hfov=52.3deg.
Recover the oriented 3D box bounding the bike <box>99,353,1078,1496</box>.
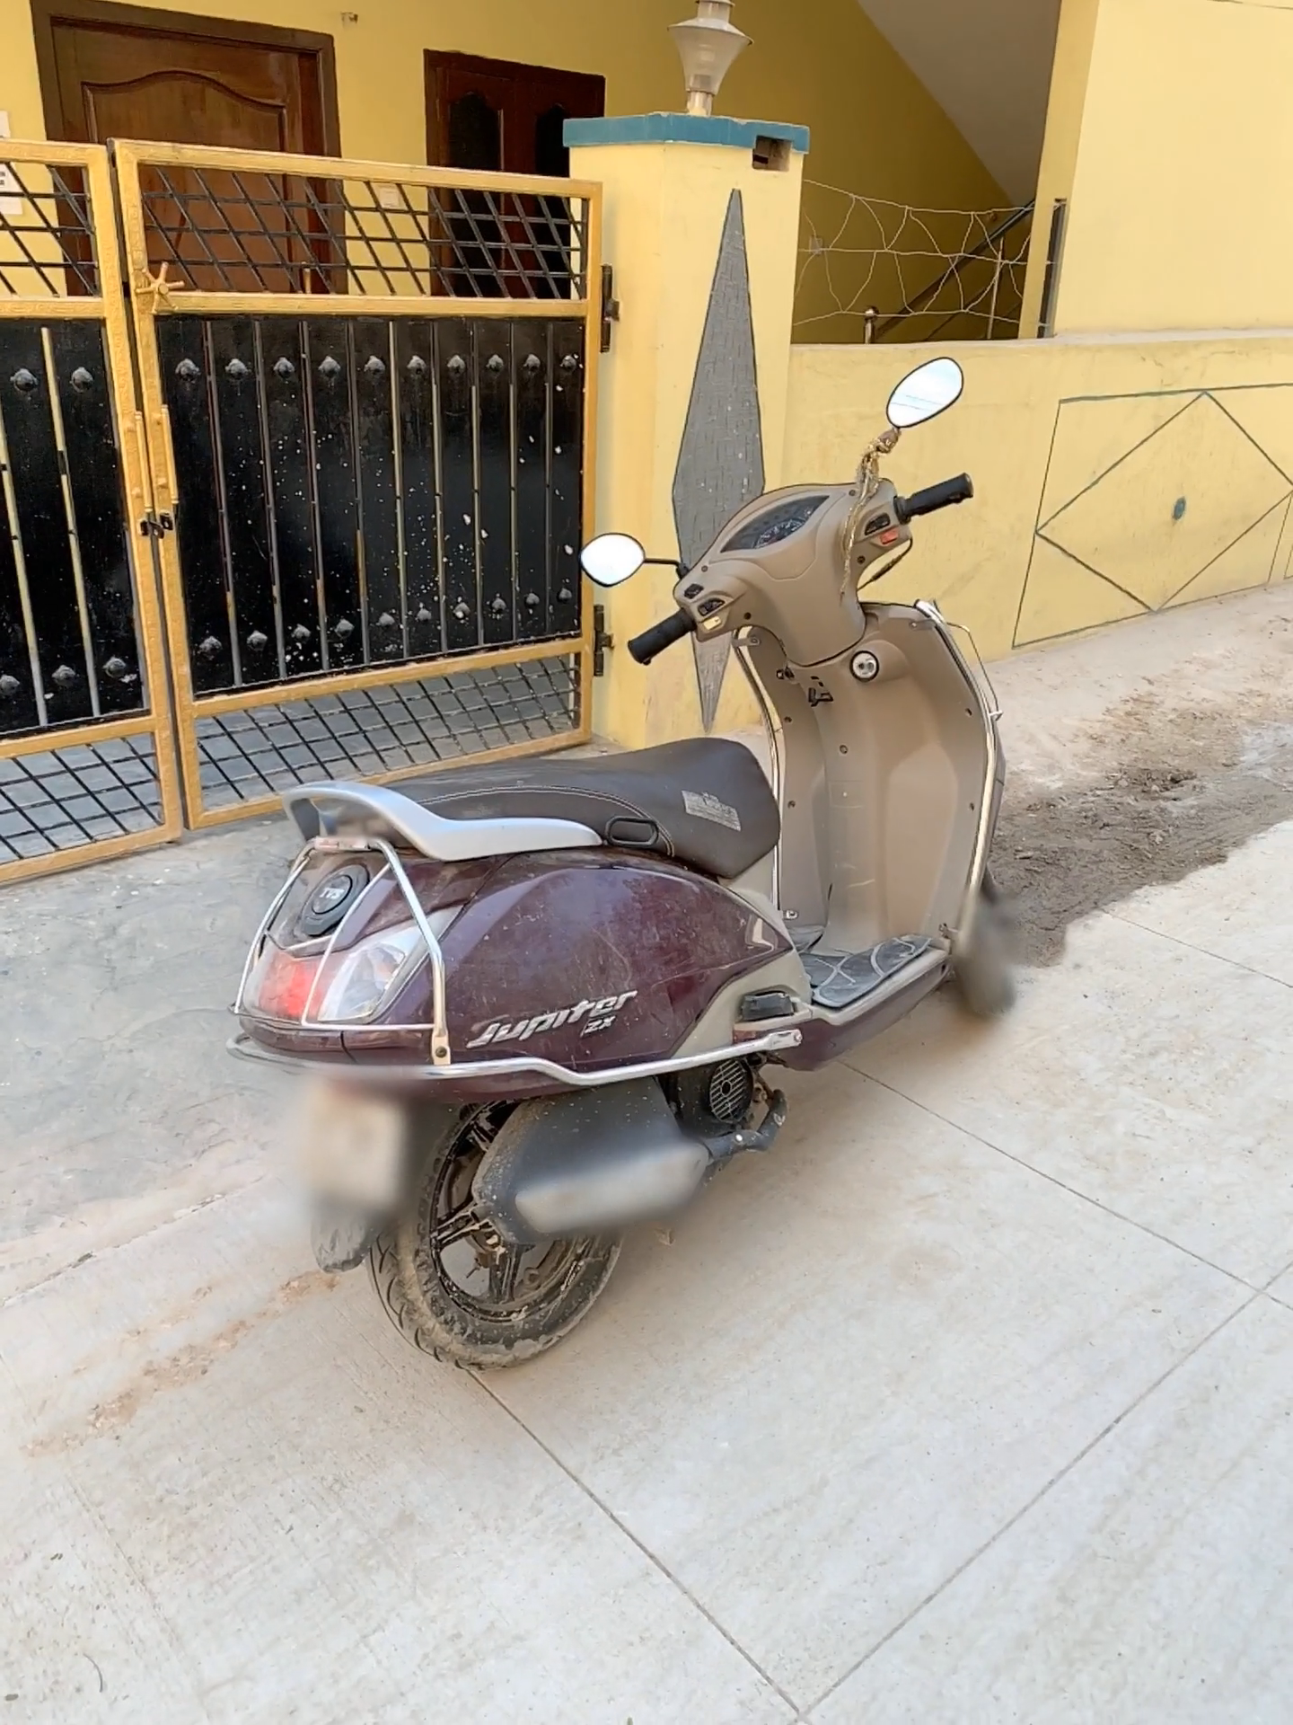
[{"bbox_3d":[0.032,-0.099,2.177,0.614,1.158,1.530,18,32,33],"label":"bike"}]
